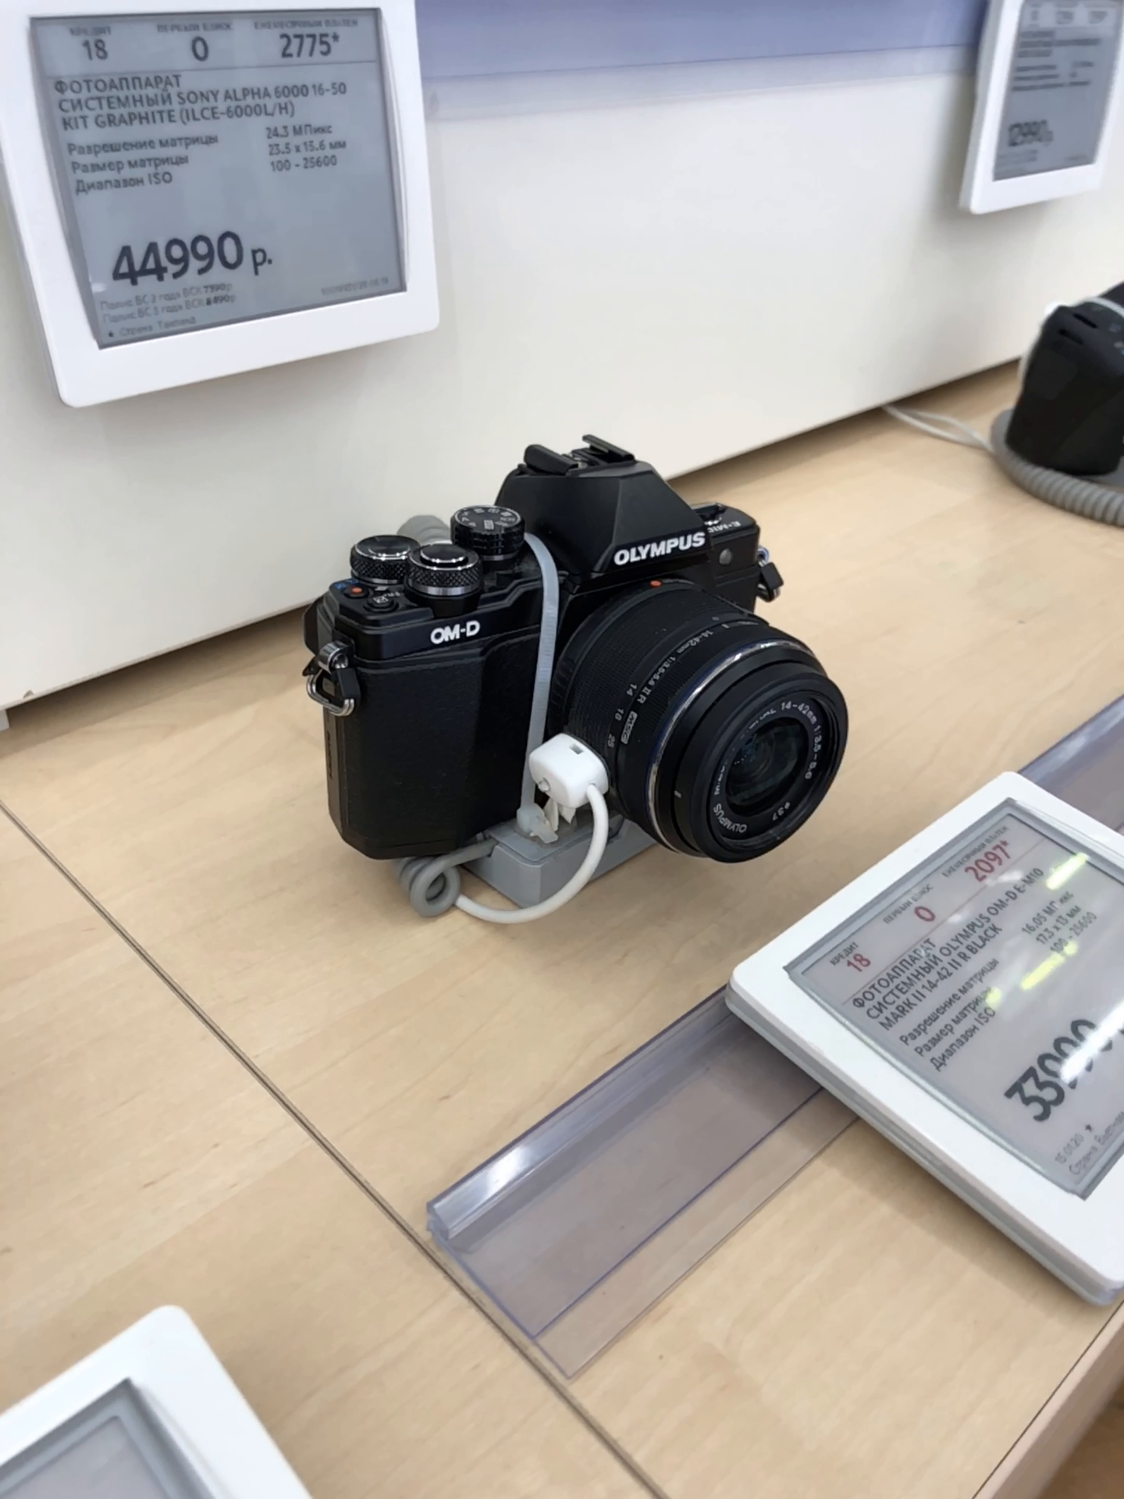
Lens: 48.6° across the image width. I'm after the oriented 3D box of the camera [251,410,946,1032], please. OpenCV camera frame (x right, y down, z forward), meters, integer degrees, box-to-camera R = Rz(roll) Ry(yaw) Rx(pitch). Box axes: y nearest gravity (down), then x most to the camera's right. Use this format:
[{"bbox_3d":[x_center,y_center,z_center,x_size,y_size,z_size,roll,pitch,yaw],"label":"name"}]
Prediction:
[{"bbox_3d":[0.006,-0.017,0.289,0.112,0.079,0.100,-22,39,-31],"label":"camera"}]
